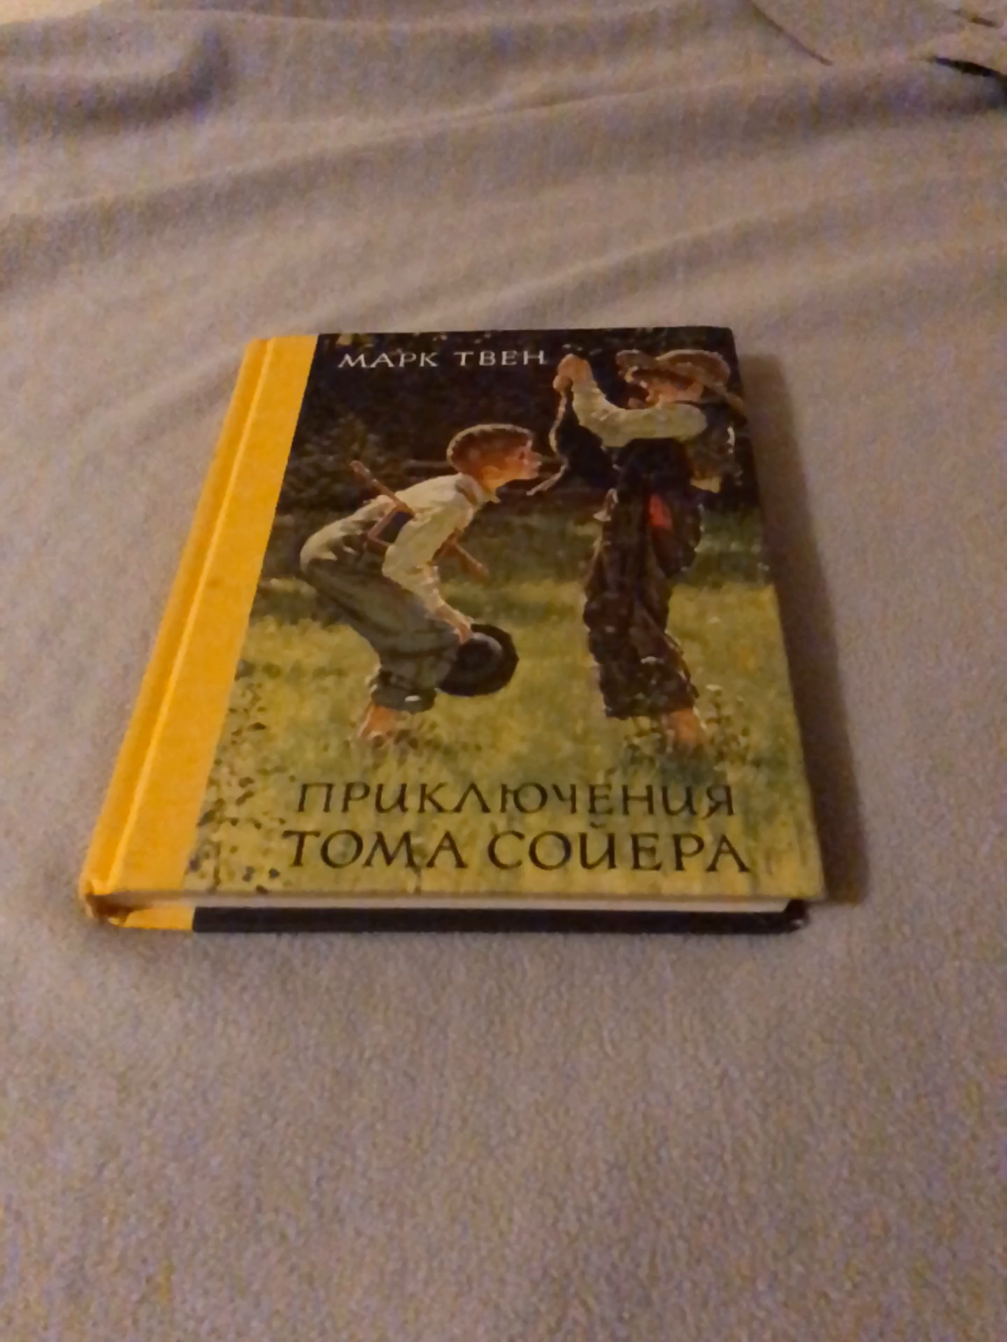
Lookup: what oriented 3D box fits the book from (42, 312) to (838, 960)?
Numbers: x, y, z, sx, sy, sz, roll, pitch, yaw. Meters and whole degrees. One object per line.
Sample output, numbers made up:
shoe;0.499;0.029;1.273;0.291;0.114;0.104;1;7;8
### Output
book;-0.010;-0.029;0.321;0.170;0.030;0.226;0;49;3
